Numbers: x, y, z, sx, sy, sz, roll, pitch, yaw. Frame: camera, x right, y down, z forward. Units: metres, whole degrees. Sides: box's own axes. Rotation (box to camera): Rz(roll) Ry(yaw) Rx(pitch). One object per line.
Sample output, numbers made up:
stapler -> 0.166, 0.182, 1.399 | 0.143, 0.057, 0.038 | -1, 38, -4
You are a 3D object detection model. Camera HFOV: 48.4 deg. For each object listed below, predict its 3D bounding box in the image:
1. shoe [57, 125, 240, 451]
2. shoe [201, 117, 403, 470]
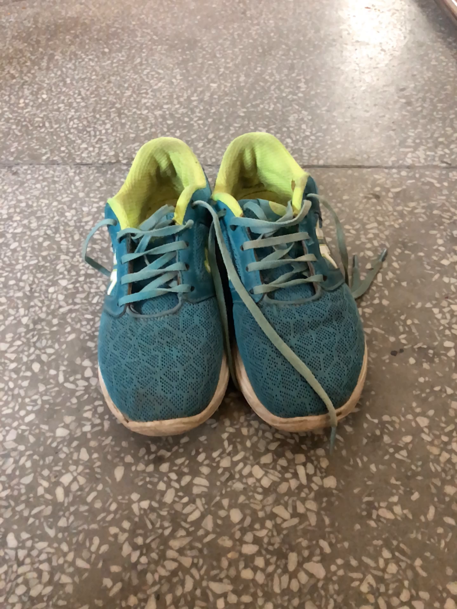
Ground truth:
shoe -> -0.043, -0.026, 0.371 | 0.090, 0.080, 0.241 | -4, 50, 3
shoe -> 0.038, -0.021, 0.372 | 0.100, 0.080, 0.251 | -5, 55, 2
